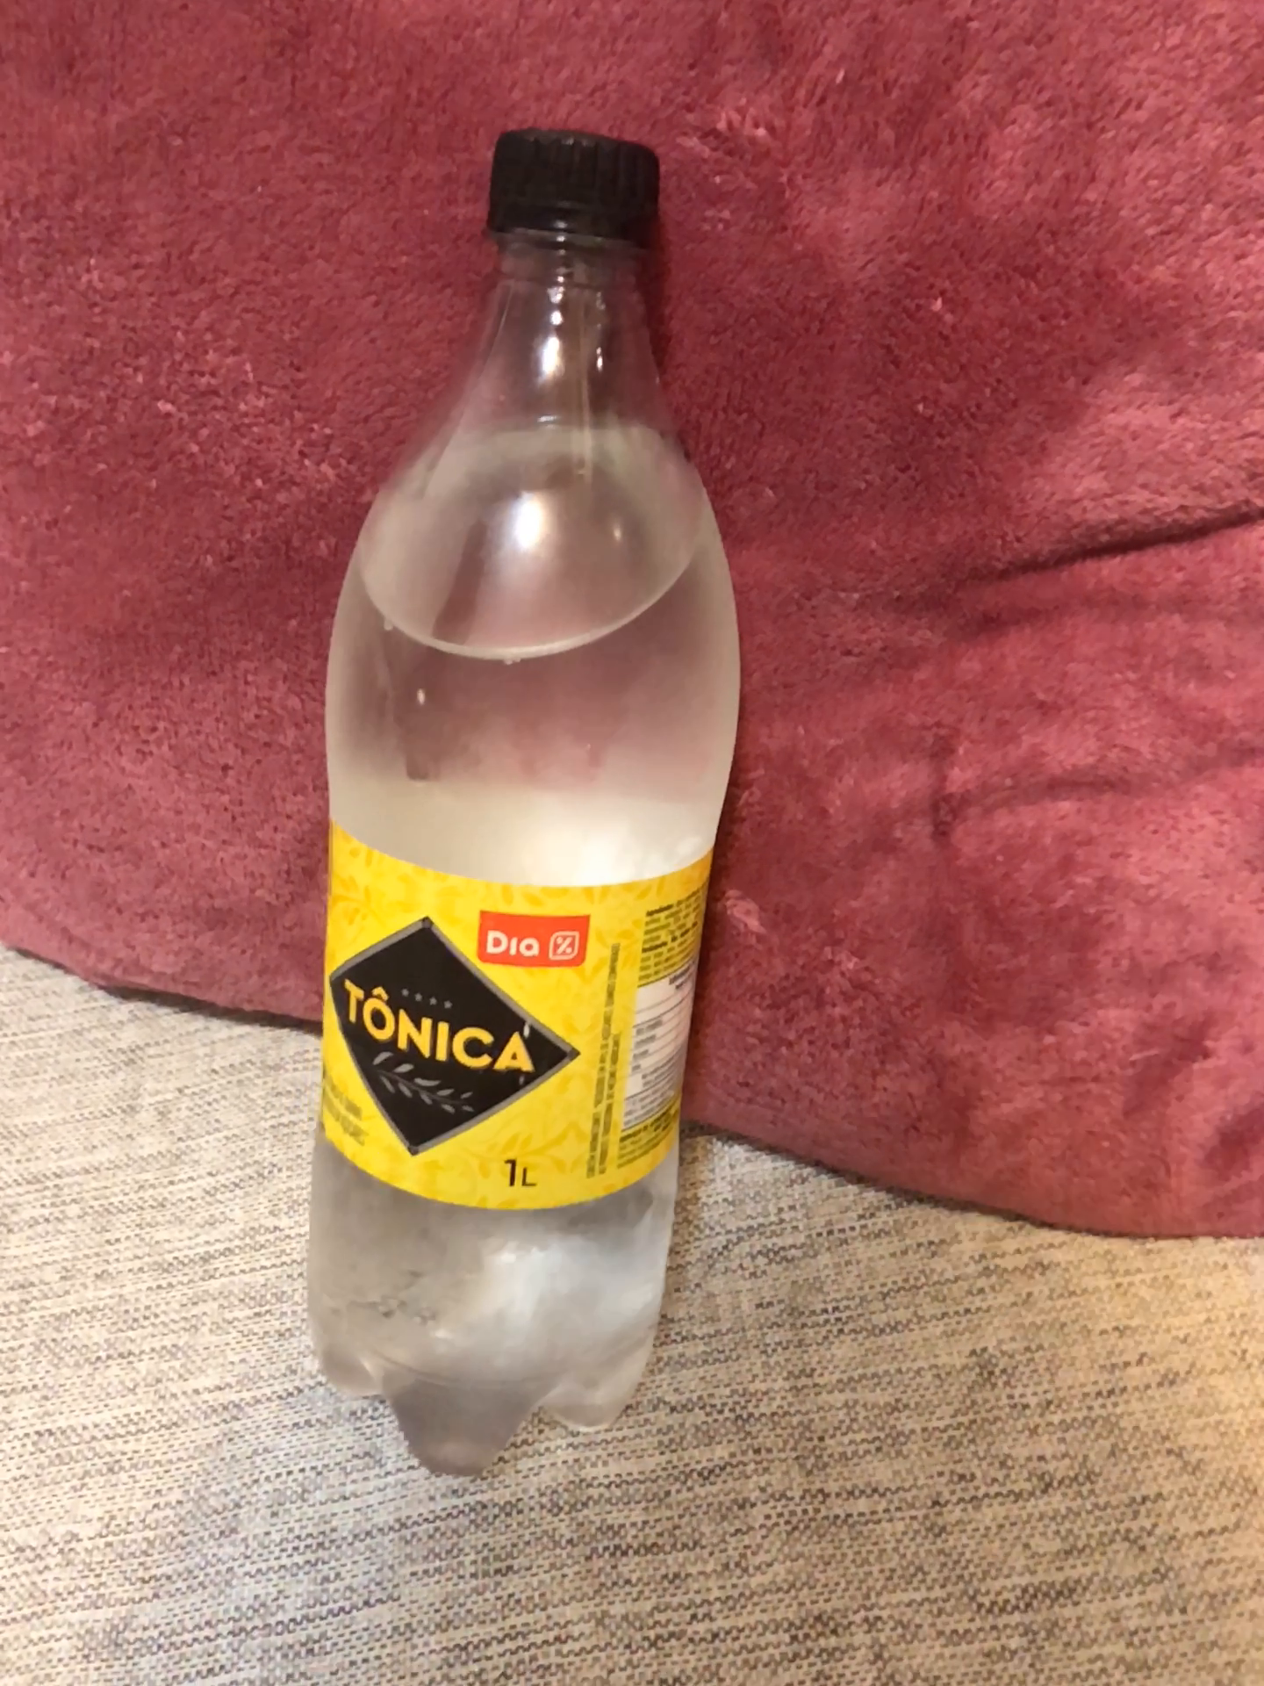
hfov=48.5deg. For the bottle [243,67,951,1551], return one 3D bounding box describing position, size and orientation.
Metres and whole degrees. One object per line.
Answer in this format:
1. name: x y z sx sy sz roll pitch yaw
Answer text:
1. bottle: -0.012 -0.004 0.301 0.100 0.269 0.100 5 21 -2
